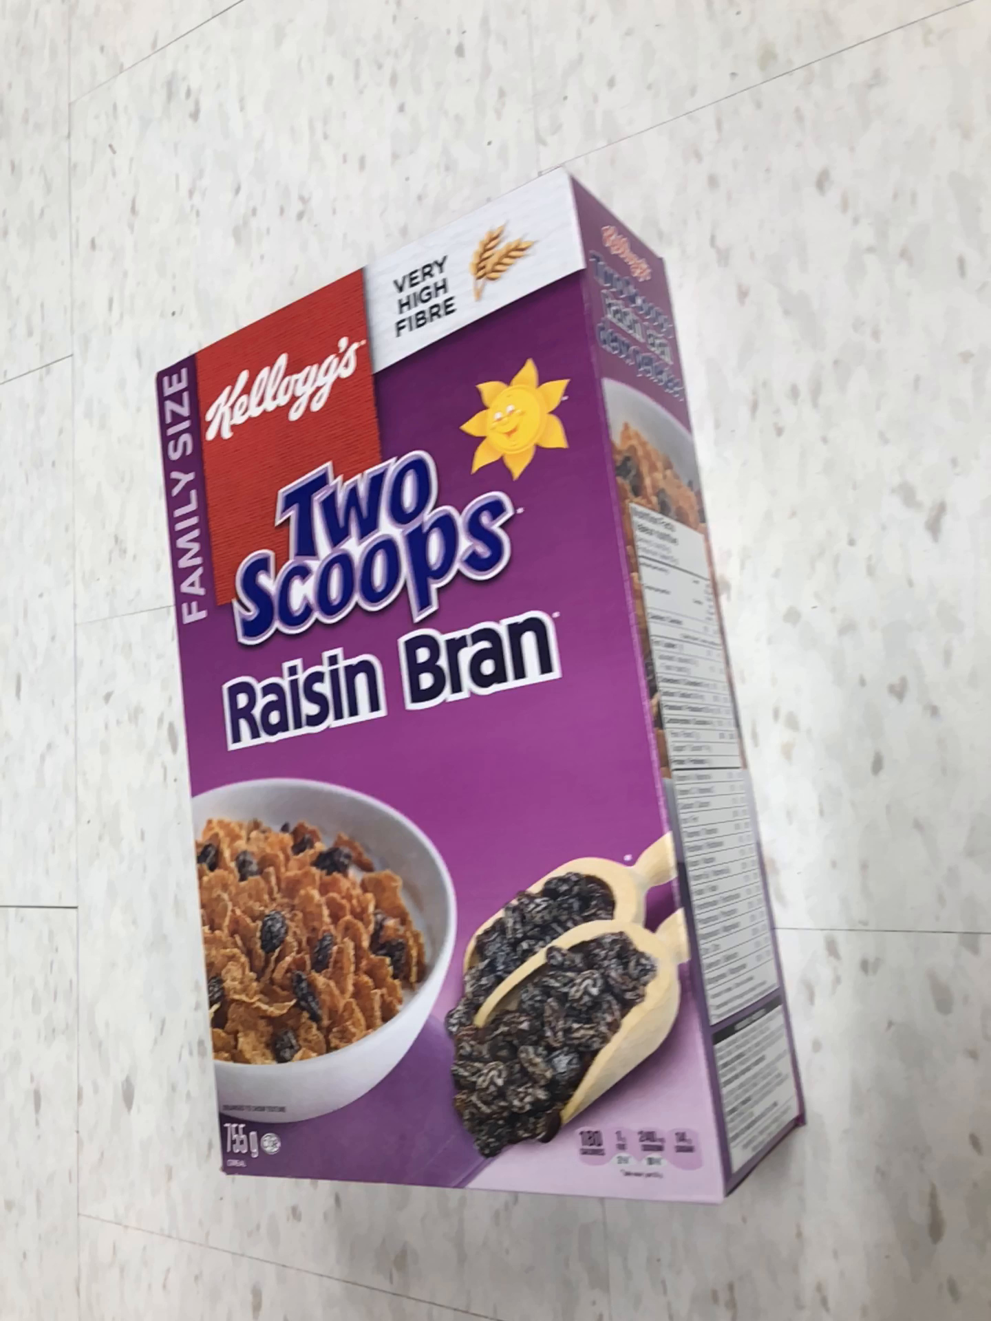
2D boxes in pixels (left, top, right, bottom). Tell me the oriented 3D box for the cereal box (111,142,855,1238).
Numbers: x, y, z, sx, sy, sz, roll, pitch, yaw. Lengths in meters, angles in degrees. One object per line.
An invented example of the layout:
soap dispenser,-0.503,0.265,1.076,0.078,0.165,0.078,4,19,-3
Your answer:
cereal box,-0.022,0.020,0.384,0.221,0.080,0.300,-14,78,32
